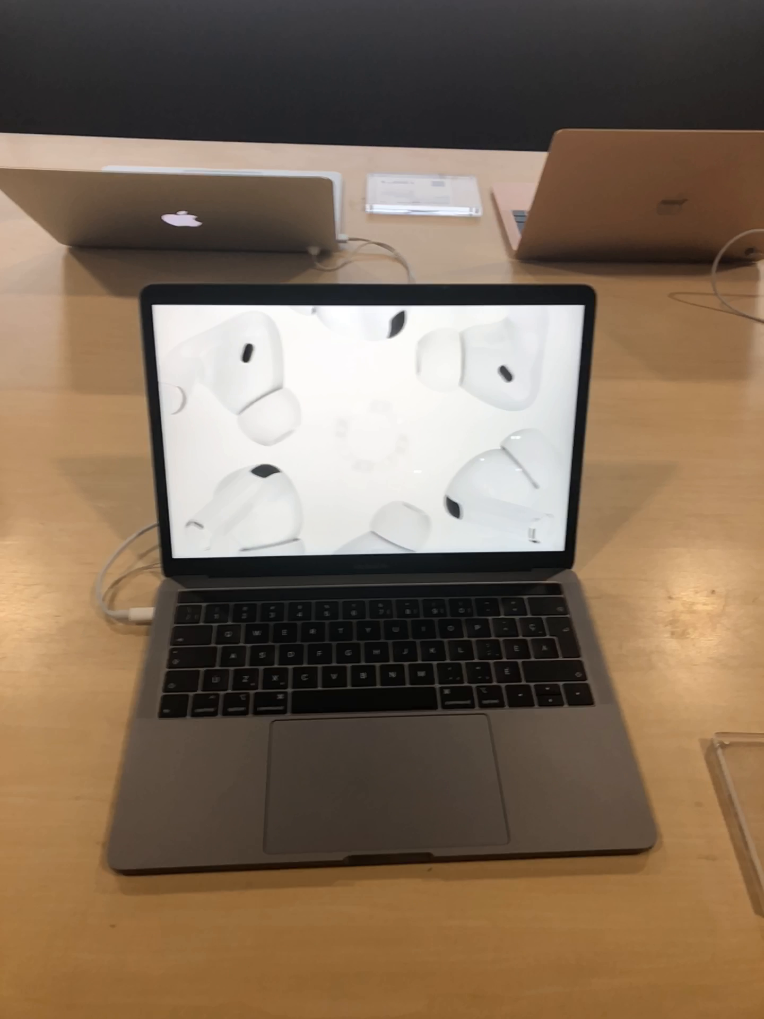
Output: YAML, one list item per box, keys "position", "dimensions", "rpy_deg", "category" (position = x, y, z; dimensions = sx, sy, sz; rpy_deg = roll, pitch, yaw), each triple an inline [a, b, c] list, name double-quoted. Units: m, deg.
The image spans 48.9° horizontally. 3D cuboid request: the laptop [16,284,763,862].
- position: [-0.006, 0.021, 0.502]
  dimensions: [0.296, 0.181, 0.296]
  rpy_deg: [0, 42, -4]
  category: "laptop"
